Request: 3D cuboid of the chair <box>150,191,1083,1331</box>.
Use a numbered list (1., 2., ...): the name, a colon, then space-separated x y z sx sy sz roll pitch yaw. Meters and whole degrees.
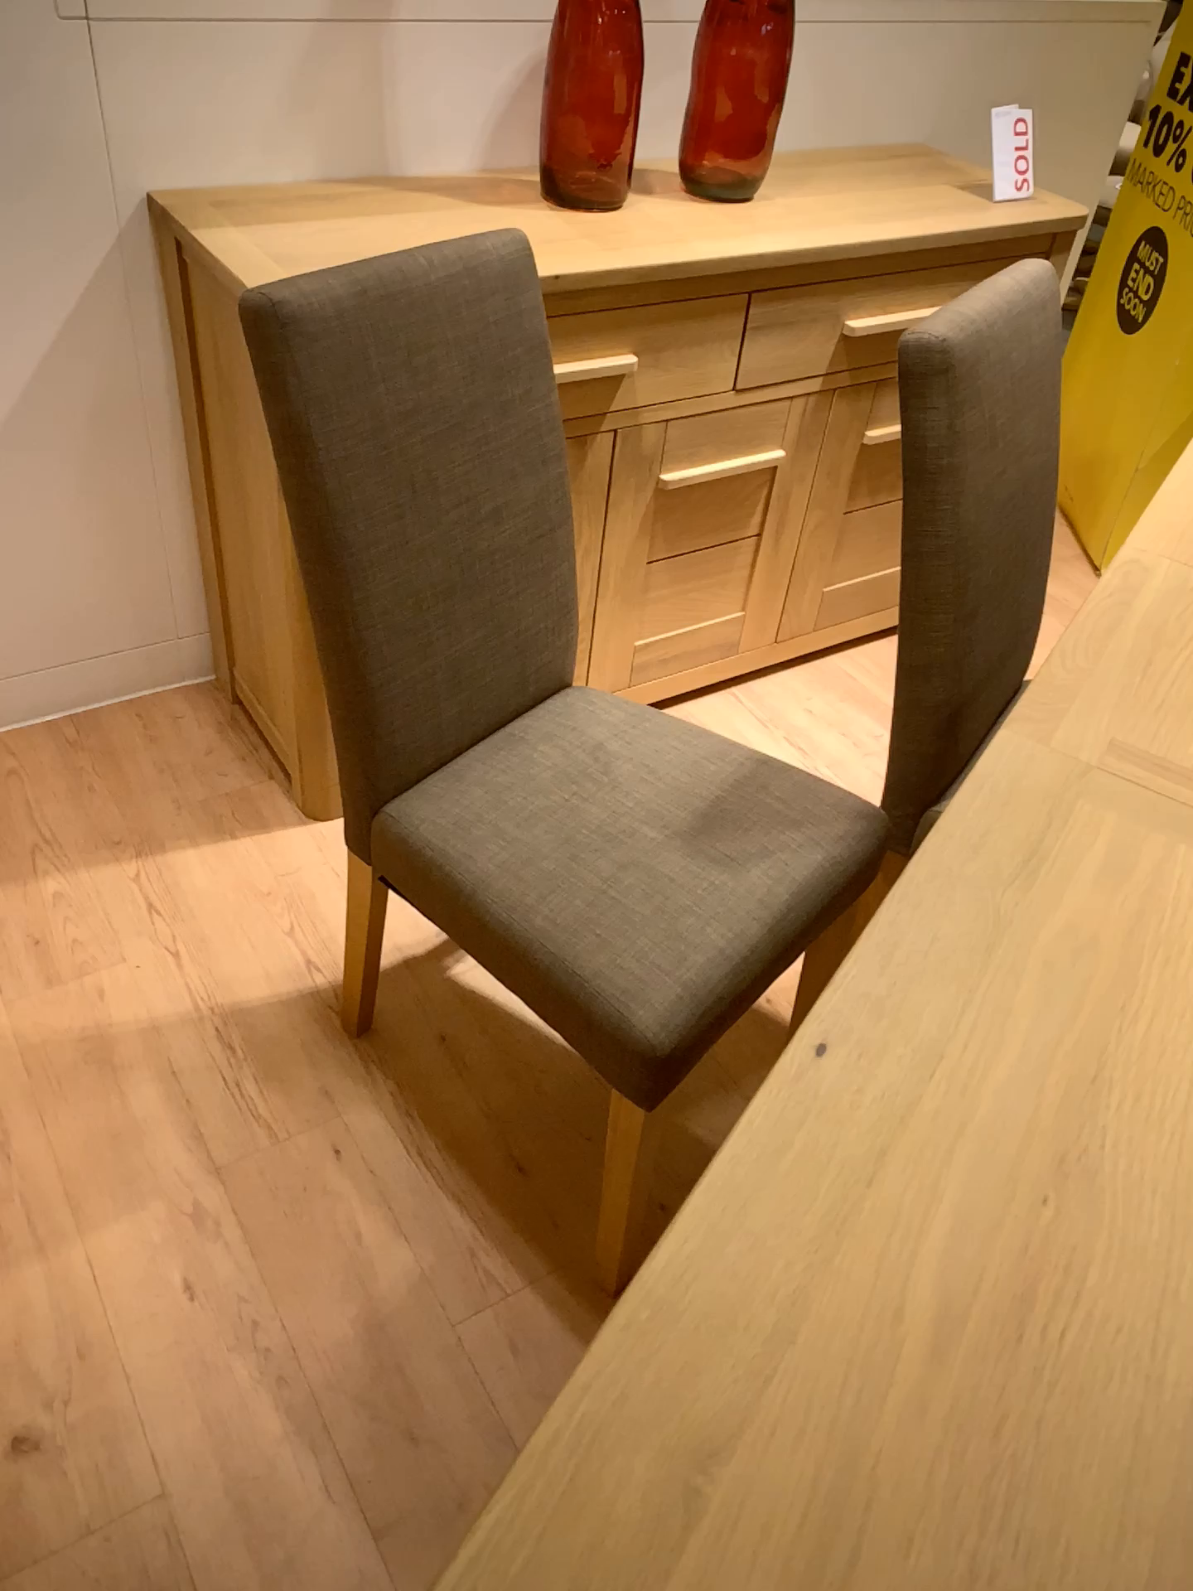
1. chair: -0.021 -0.032 1.312 0.613 0.951 0.493 31 46 26
